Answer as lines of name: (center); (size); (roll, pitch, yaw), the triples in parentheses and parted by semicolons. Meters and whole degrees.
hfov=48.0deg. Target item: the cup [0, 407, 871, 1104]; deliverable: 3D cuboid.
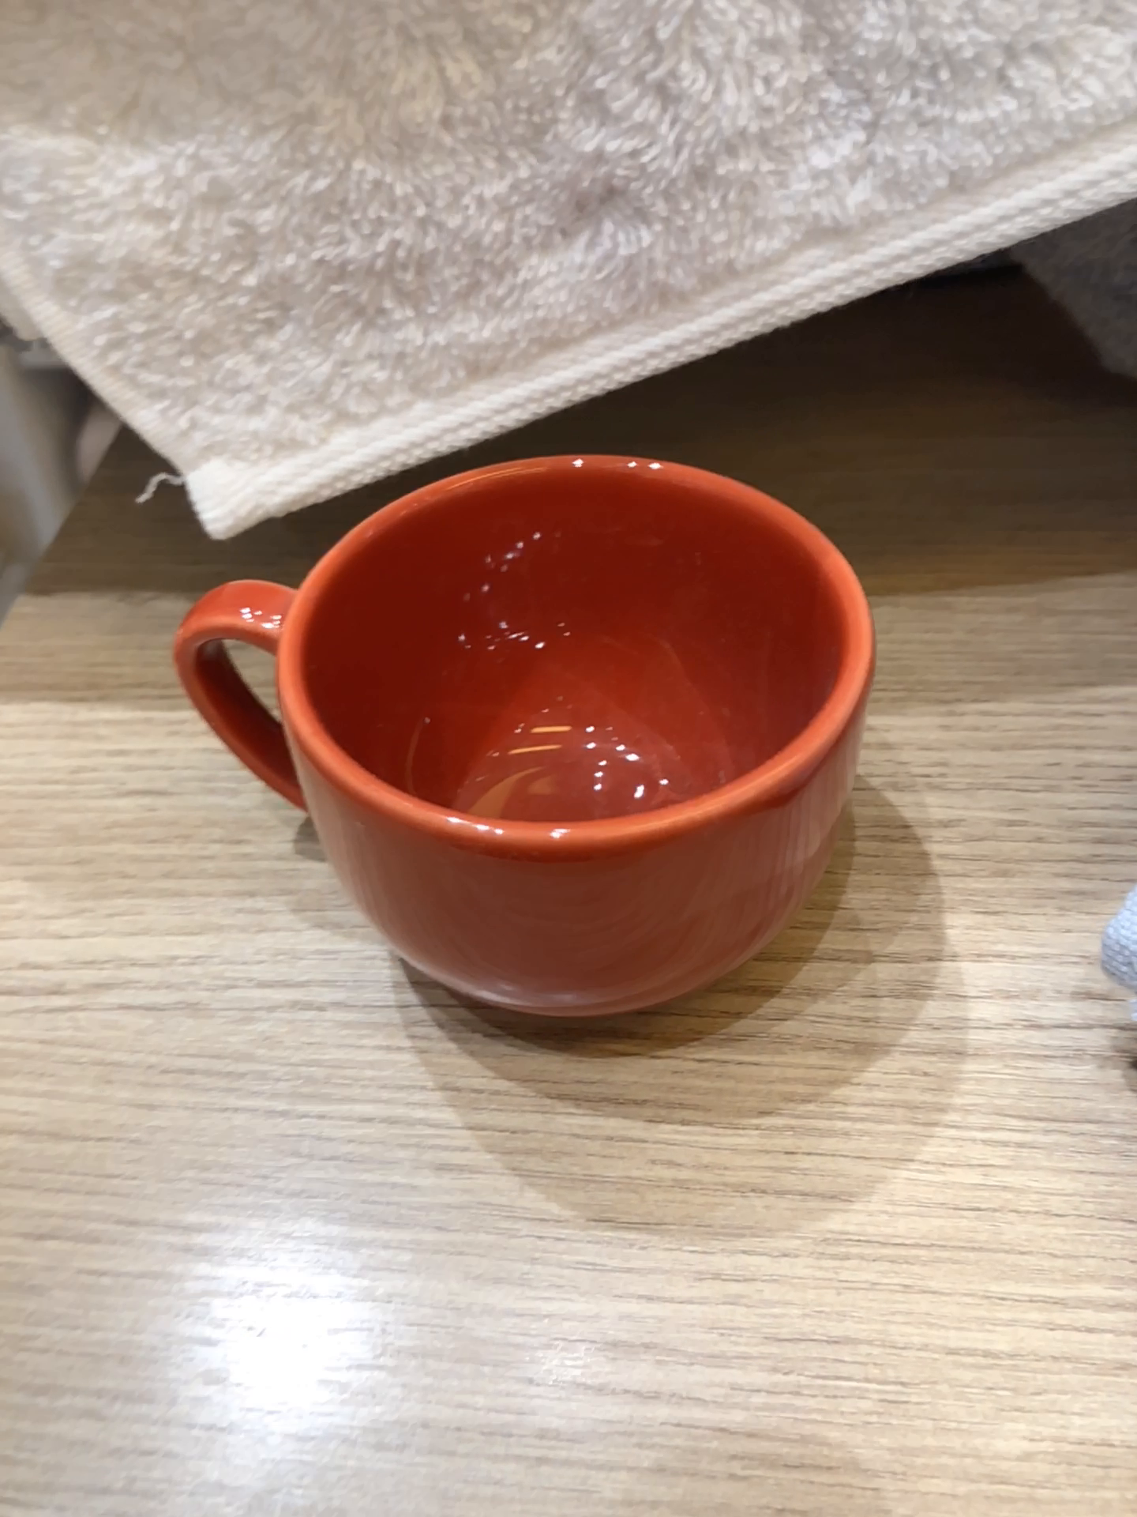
cup: (-0.011, -0.005, 0.187); (0.100, 0.050, 0.080); (6, 46, 10)
